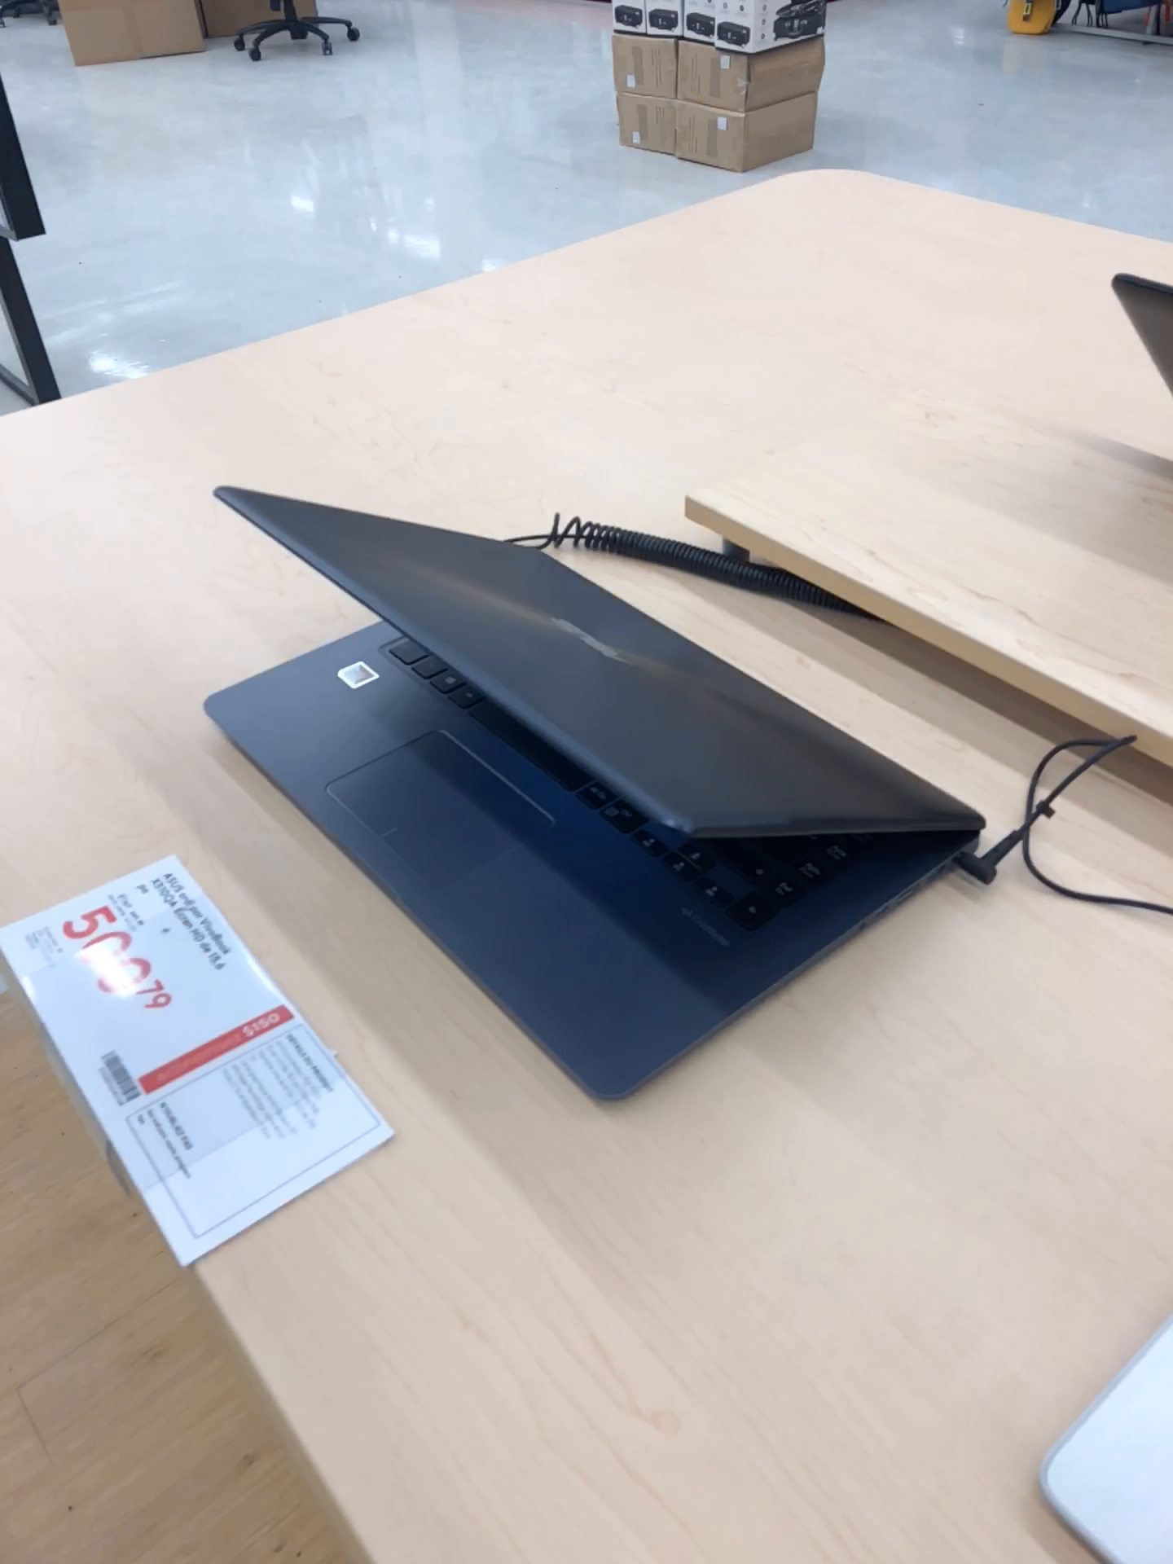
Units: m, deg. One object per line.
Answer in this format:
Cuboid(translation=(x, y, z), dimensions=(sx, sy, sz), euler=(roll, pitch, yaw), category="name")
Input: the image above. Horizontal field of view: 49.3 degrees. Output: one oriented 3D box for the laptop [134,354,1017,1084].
Cuboid(translation=(-0.018, -0.063, 0.629), dimensions=(0.232, 0.136, 0.346), euler=(-30, 47, -28), category="laptop")
